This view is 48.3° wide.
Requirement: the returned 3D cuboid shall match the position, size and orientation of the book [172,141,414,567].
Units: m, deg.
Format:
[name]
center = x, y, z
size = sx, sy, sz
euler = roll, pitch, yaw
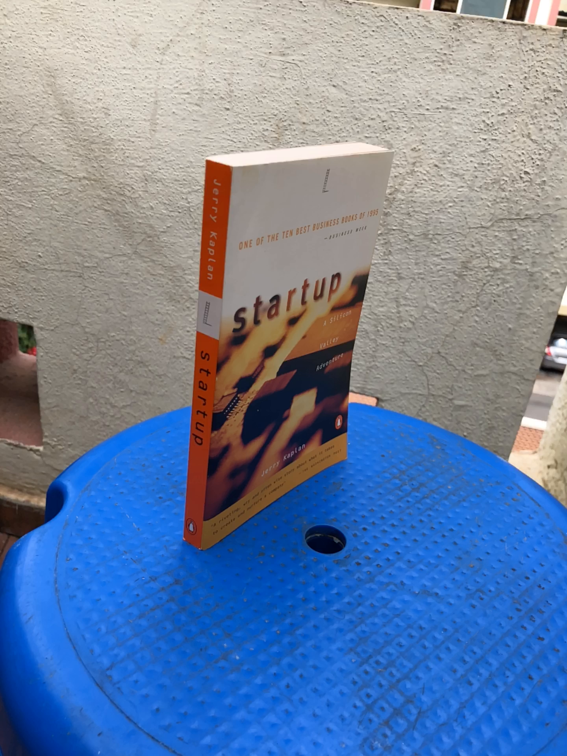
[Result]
[book]
center = 0.005, -0.018, 0.340
size = 0.030, 0.199, 0.141
euler = 24, 31, 29
